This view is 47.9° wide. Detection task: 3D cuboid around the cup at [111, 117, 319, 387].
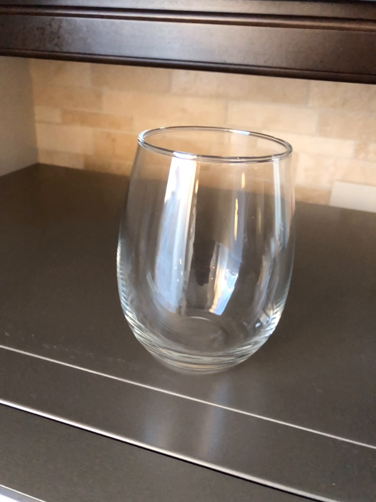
[{"bbox_3d":[0.013,-0.006,0.217,0.078,0.104,0.083,3,25,-1],"label":"cup"}]
